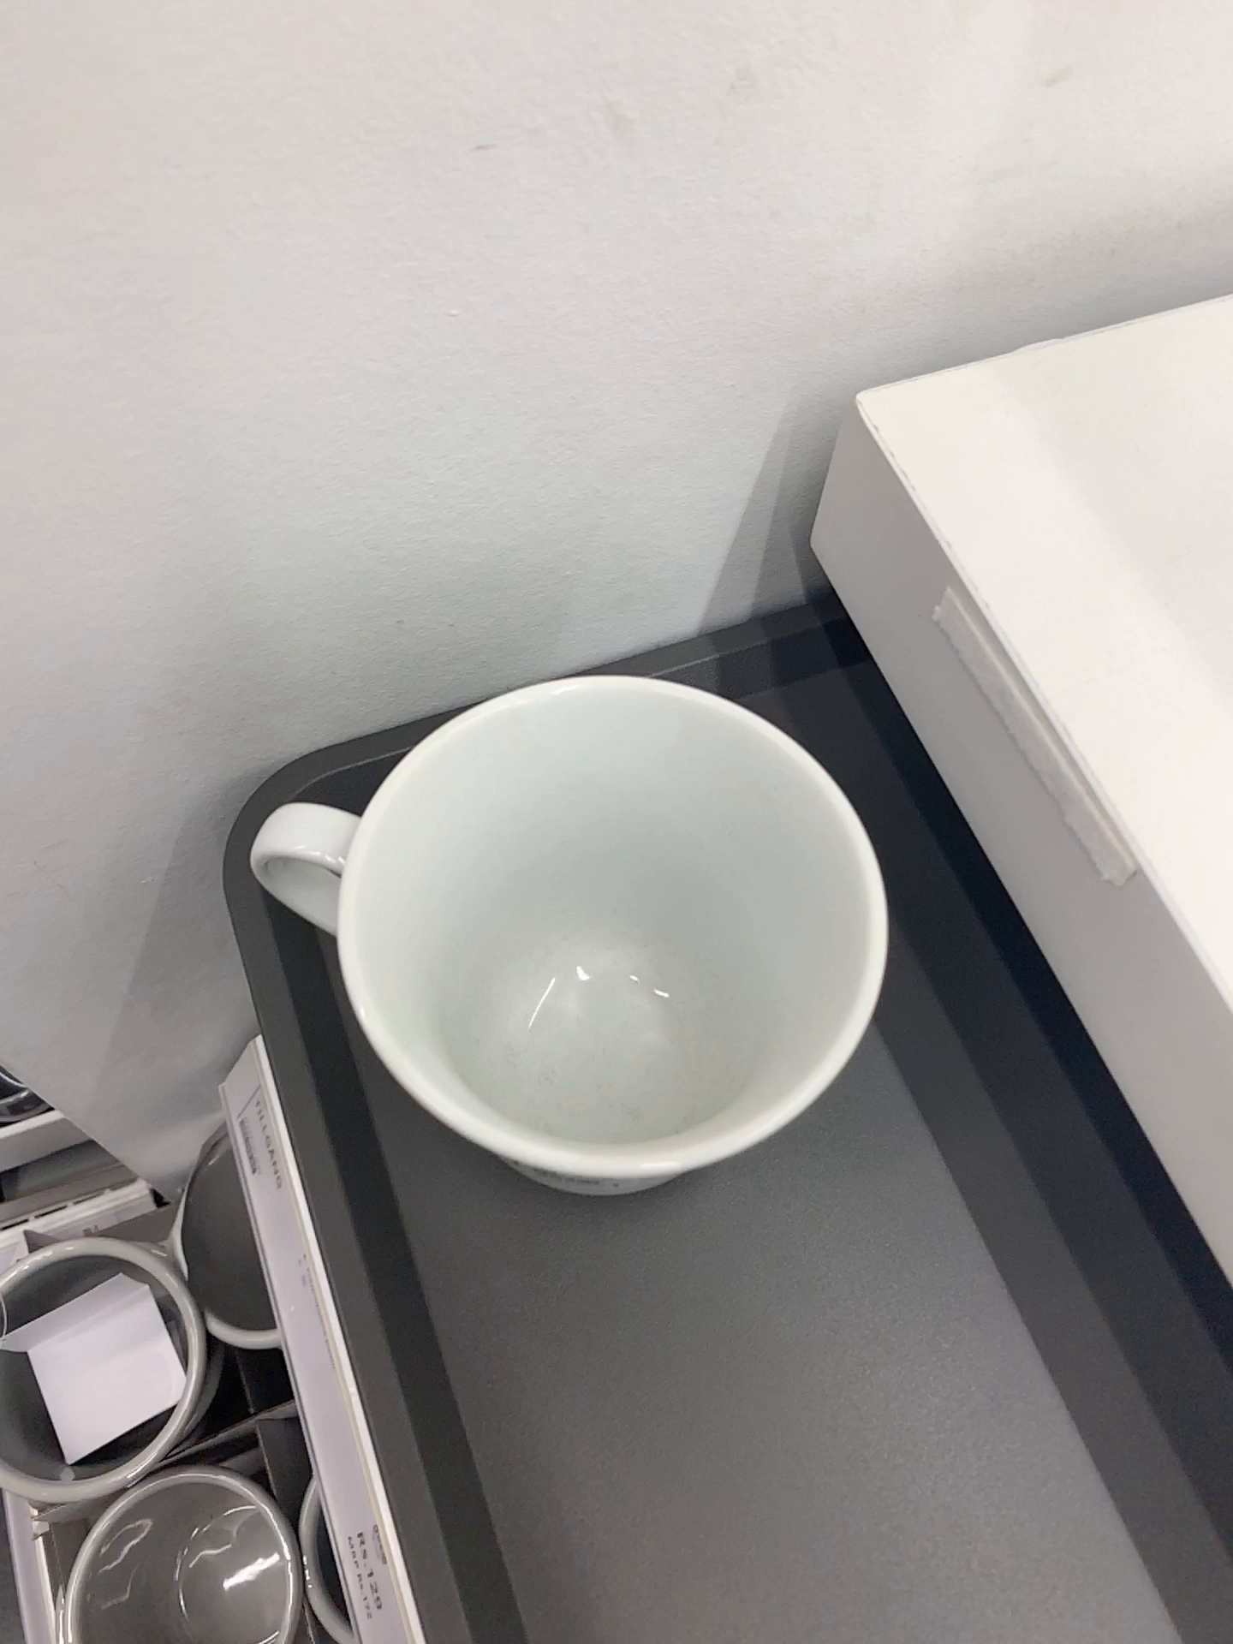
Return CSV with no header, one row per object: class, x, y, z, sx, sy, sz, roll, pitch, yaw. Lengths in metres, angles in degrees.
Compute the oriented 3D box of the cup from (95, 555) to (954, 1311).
cup,-0.013,0.028,0.270,0.130,0.100,0.100,14,62,5
